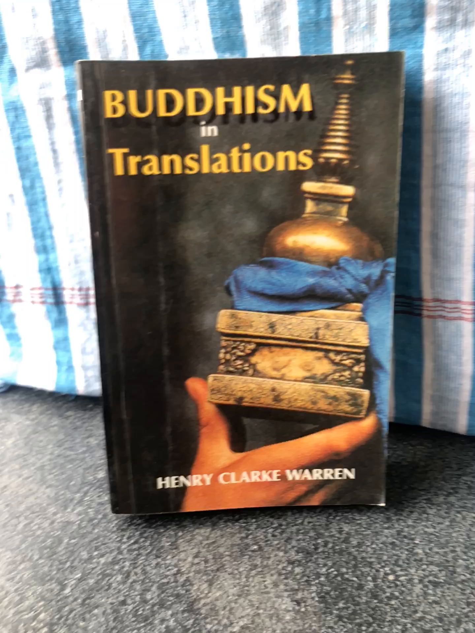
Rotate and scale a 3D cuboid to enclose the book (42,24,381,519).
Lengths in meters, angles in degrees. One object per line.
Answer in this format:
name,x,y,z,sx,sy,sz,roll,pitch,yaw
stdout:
book,-0.008,-0.018,0.255,0.140,0.210,0.050,-2,6,0
